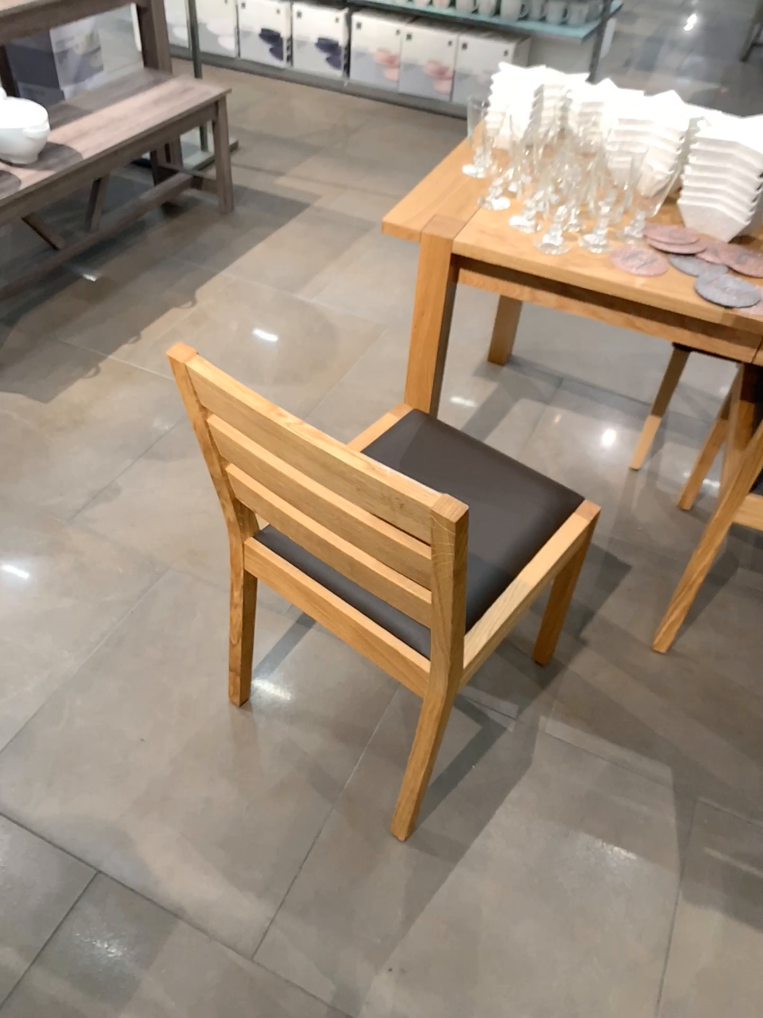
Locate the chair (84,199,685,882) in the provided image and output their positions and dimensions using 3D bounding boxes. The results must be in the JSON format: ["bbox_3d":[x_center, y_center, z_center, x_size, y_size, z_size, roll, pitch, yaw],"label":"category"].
[{"bbox_3d":[0.000,0.051,1.304,0.564,0.815,0.567,31,50,25],"label":"chair"}]
